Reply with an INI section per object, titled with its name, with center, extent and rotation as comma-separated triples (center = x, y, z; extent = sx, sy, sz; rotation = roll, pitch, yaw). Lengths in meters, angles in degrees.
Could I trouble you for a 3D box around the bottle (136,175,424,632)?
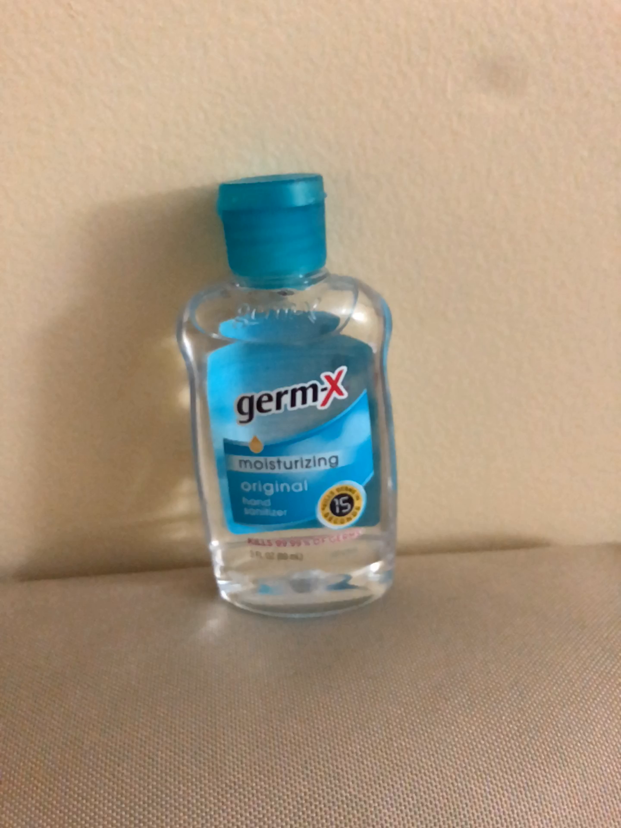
[bottle]
center = -0.005, -0.002, 0.181
extent = 0.060, 0.110, 0.030
rotation = -3, 20, -3
